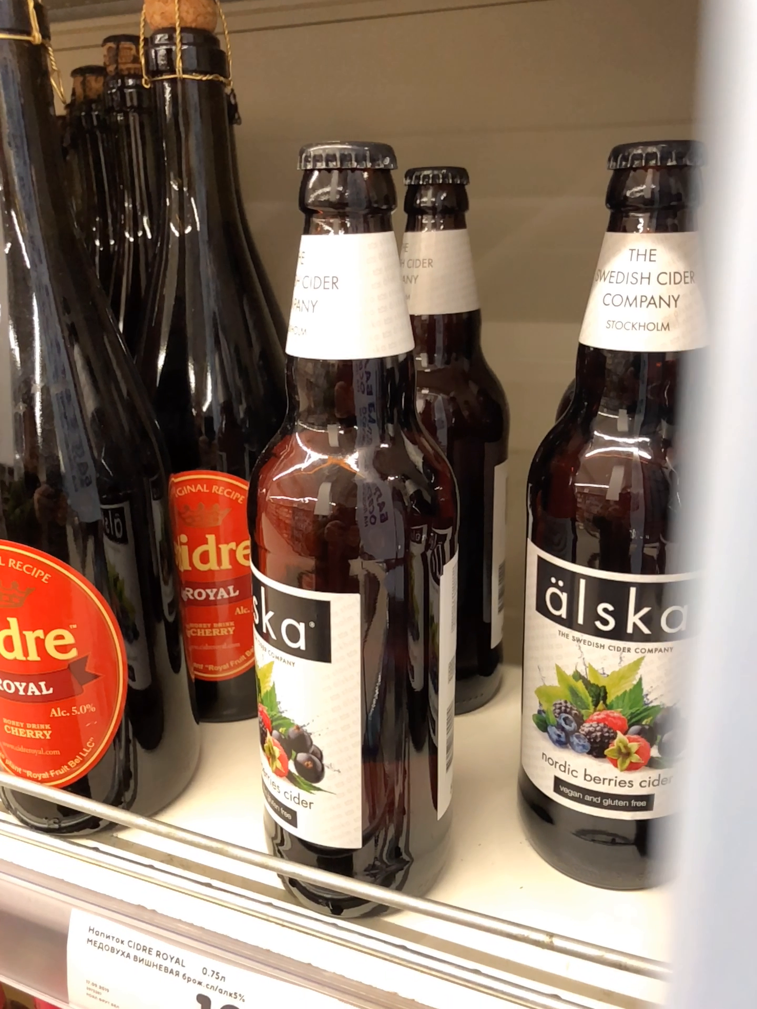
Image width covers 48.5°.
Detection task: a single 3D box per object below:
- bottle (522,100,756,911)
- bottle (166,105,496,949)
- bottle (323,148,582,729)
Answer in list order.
[{"bbox_3d":[0.090,0.006,0.277,0.070,0.244,0.063,4,19,15],"label":"bottle"},{"bbox_3d":[-0.013,0.009,0.257,0.063,0.229,0.070,-11,21,-26],"label":"bottle"},{"bbox_3d":[0.031,-0.030,0.380,0.076,0.235,0.075,-1,19,0],"label":"bottle"}]
